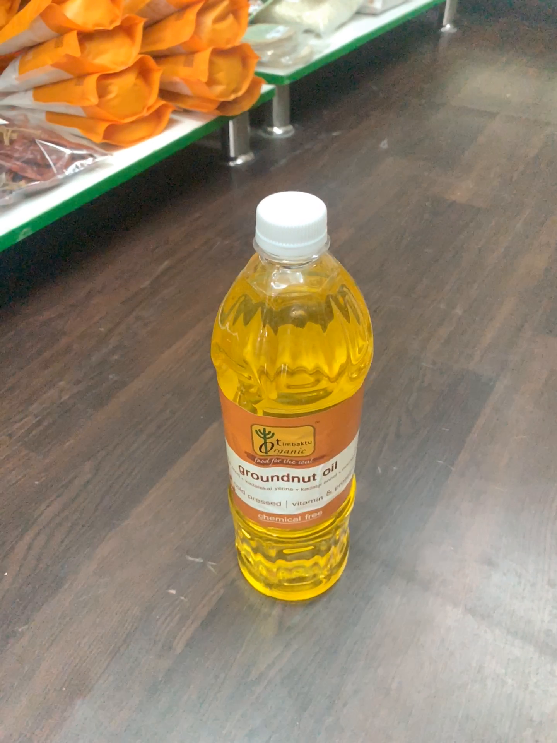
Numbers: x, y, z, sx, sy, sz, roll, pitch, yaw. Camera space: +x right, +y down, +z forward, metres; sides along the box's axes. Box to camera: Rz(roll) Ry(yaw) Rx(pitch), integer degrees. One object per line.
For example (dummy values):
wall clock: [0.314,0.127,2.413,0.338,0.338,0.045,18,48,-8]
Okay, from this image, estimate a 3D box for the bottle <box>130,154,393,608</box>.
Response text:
bottle: [0.001,0.027,0.310,0.090,0.259,0.070,6,43,8]
